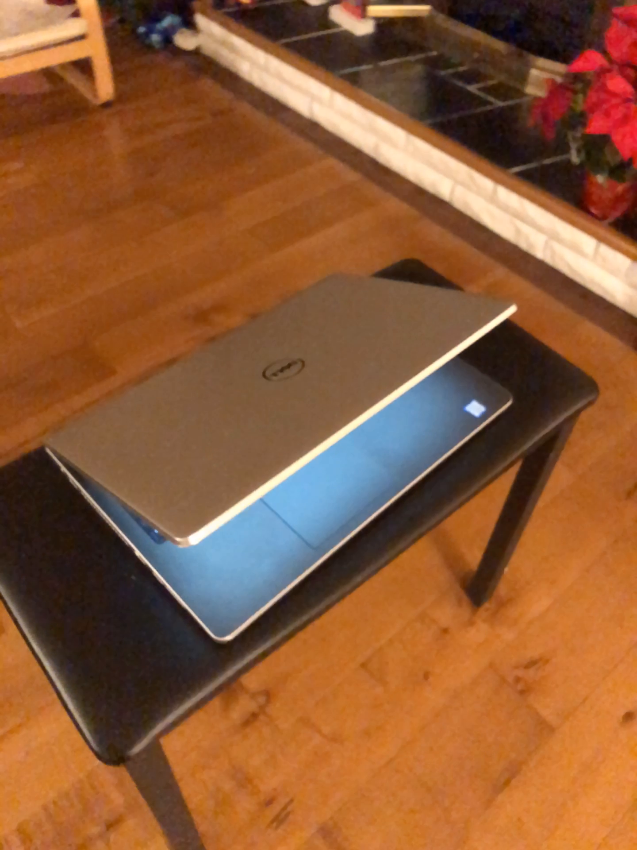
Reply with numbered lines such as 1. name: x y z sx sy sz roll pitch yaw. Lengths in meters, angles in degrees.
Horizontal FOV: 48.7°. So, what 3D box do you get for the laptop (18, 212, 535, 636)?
1. laptop: -0.027 -0.033 0.642 0.366 0.107 0.248 -35 58 -29
